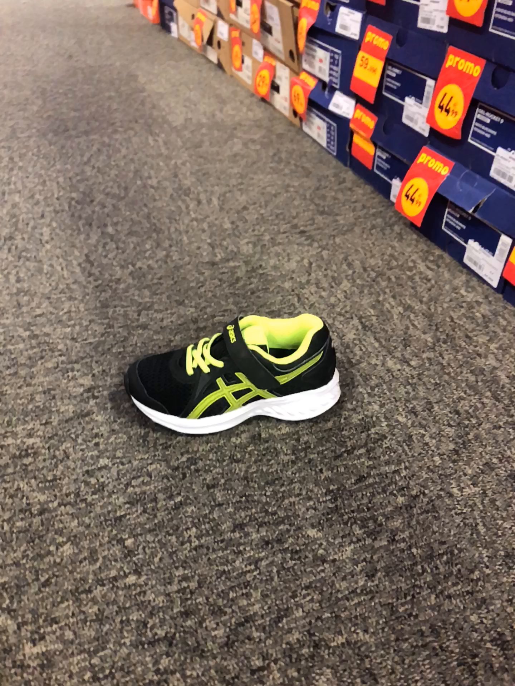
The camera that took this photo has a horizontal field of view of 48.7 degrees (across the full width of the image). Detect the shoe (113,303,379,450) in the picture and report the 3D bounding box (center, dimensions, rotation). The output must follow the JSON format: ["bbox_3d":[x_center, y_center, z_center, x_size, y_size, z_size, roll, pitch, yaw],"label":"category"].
[{"bbox_3d":[-0.011,0.026,0.487,0.200,0.080,0.091,-1,39,-4],"label":"shoe"}]
